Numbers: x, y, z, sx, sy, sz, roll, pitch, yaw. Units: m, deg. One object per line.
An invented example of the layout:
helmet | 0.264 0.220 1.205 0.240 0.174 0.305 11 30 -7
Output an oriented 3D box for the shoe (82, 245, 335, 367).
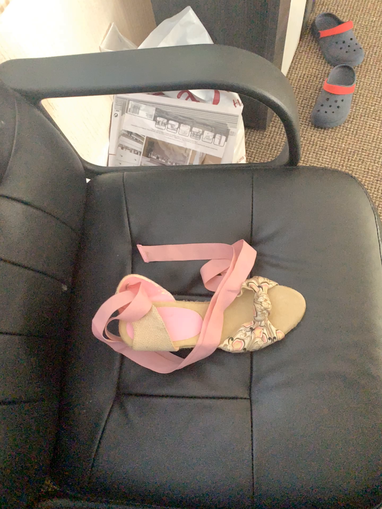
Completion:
shoe | 0.019 0.075 0.496 0.270 0.140 0.100 -7 71 5
